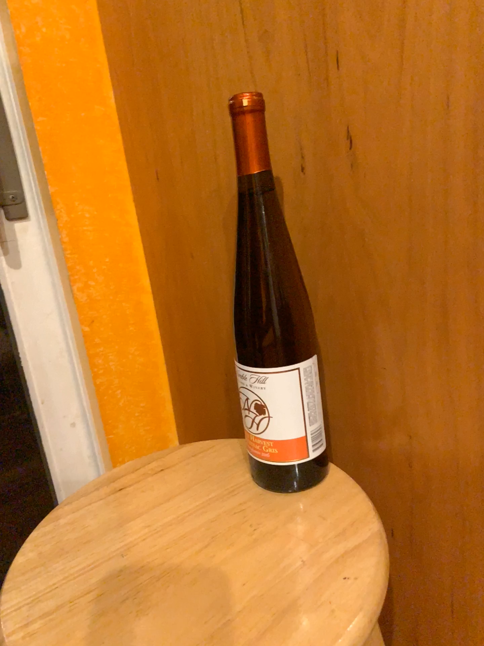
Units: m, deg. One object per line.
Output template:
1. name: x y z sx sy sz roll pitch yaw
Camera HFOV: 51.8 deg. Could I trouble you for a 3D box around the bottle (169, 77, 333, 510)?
1. bottle: 0.012 -0.016 0.416 0.060 0.329 0.080 -19 19 -36
